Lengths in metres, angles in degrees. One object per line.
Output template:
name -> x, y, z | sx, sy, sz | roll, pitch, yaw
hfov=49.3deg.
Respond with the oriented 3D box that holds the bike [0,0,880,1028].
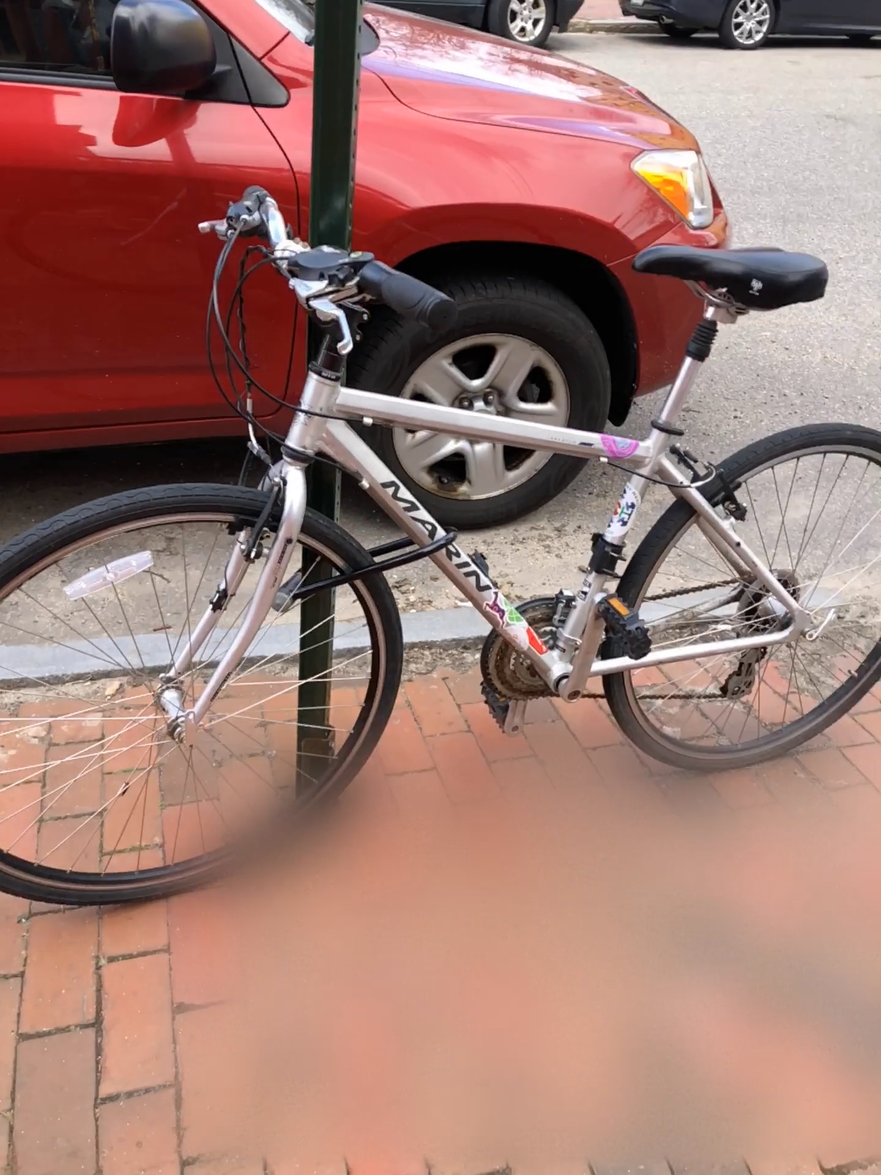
bike -> 0.051, -0.130, 1.335 | 1.561, 1.011, 0.611 | -6, 37, -23
